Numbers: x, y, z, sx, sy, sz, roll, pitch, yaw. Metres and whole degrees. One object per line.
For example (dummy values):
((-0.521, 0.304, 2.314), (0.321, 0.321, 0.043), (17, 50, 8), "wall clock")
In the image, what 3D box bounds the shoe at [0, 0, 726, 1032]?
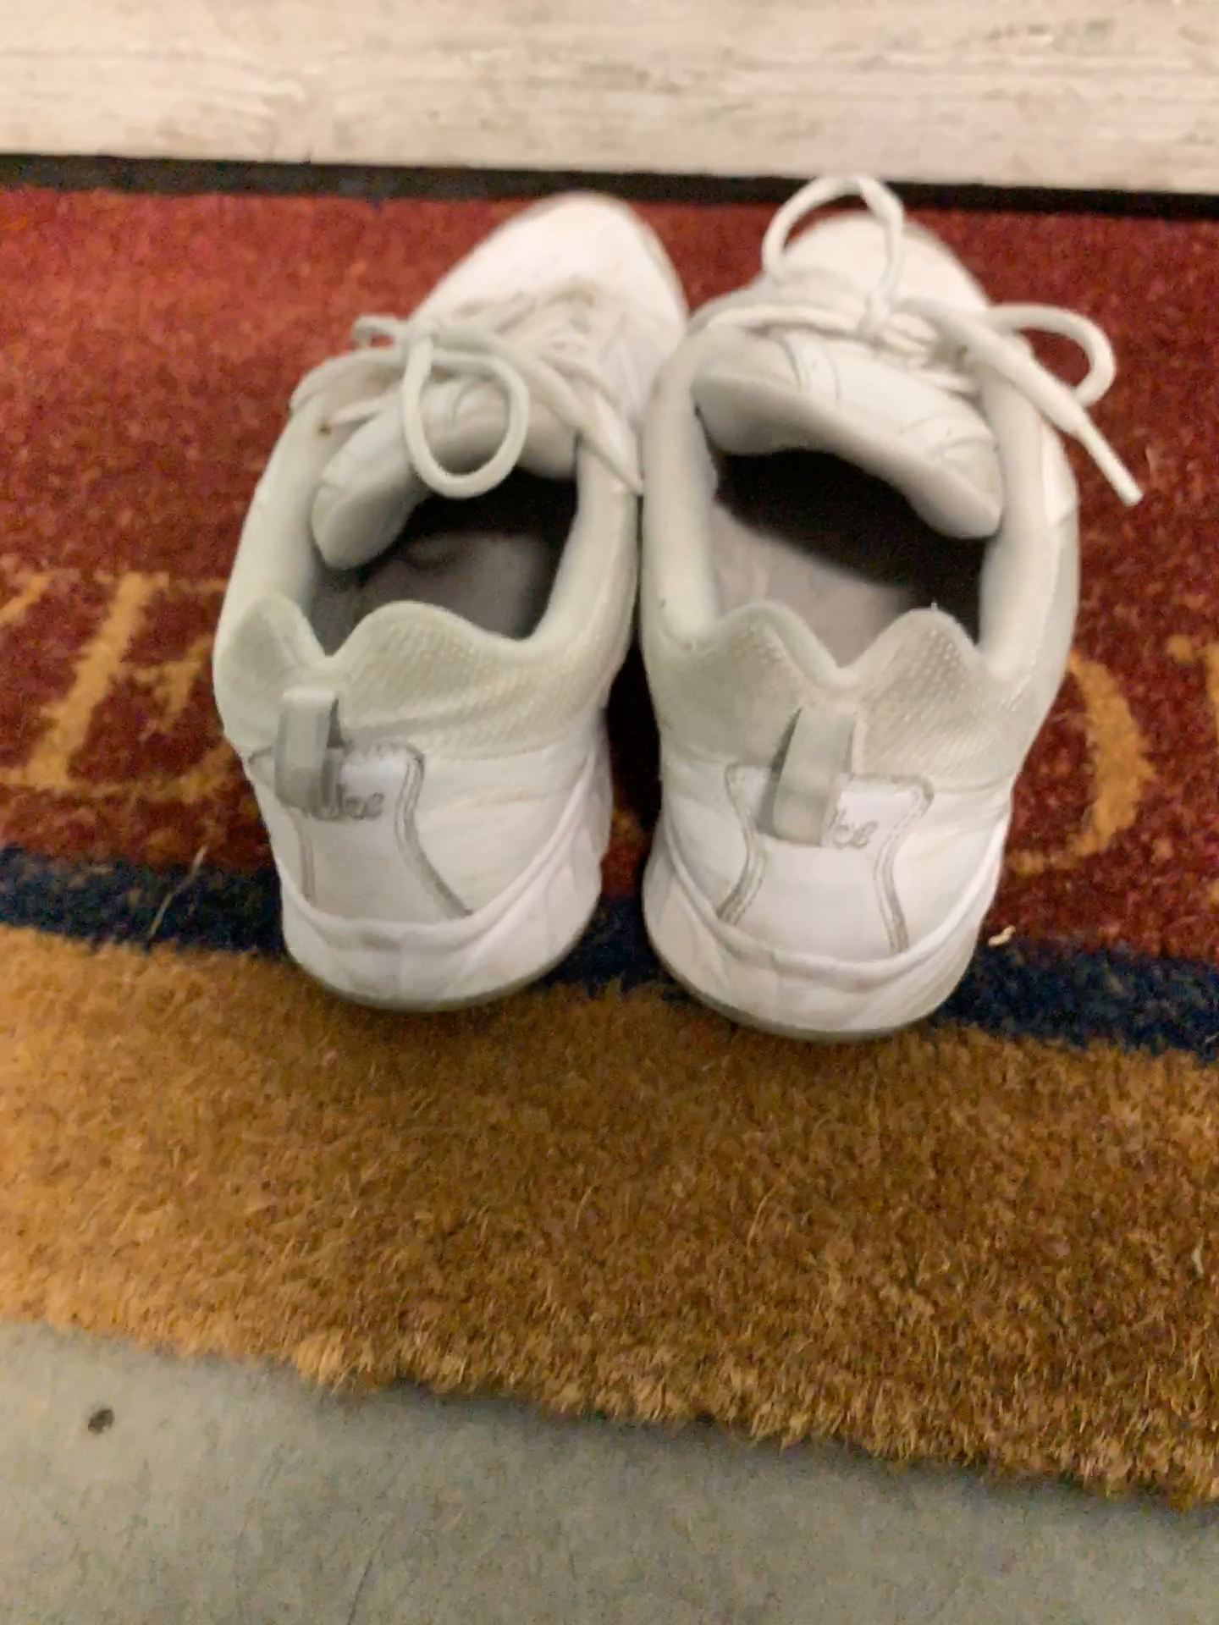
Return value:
((-0.040, -0.112, 0.350), (0.110, 0.129, 0.303), (5, 55, 8), "shoe")

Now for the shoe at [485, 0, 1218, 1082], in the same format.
((0.067, -0.103, 0.335), (0.120, 0.129, 0.303), (5, 55, 8), "shoe")
